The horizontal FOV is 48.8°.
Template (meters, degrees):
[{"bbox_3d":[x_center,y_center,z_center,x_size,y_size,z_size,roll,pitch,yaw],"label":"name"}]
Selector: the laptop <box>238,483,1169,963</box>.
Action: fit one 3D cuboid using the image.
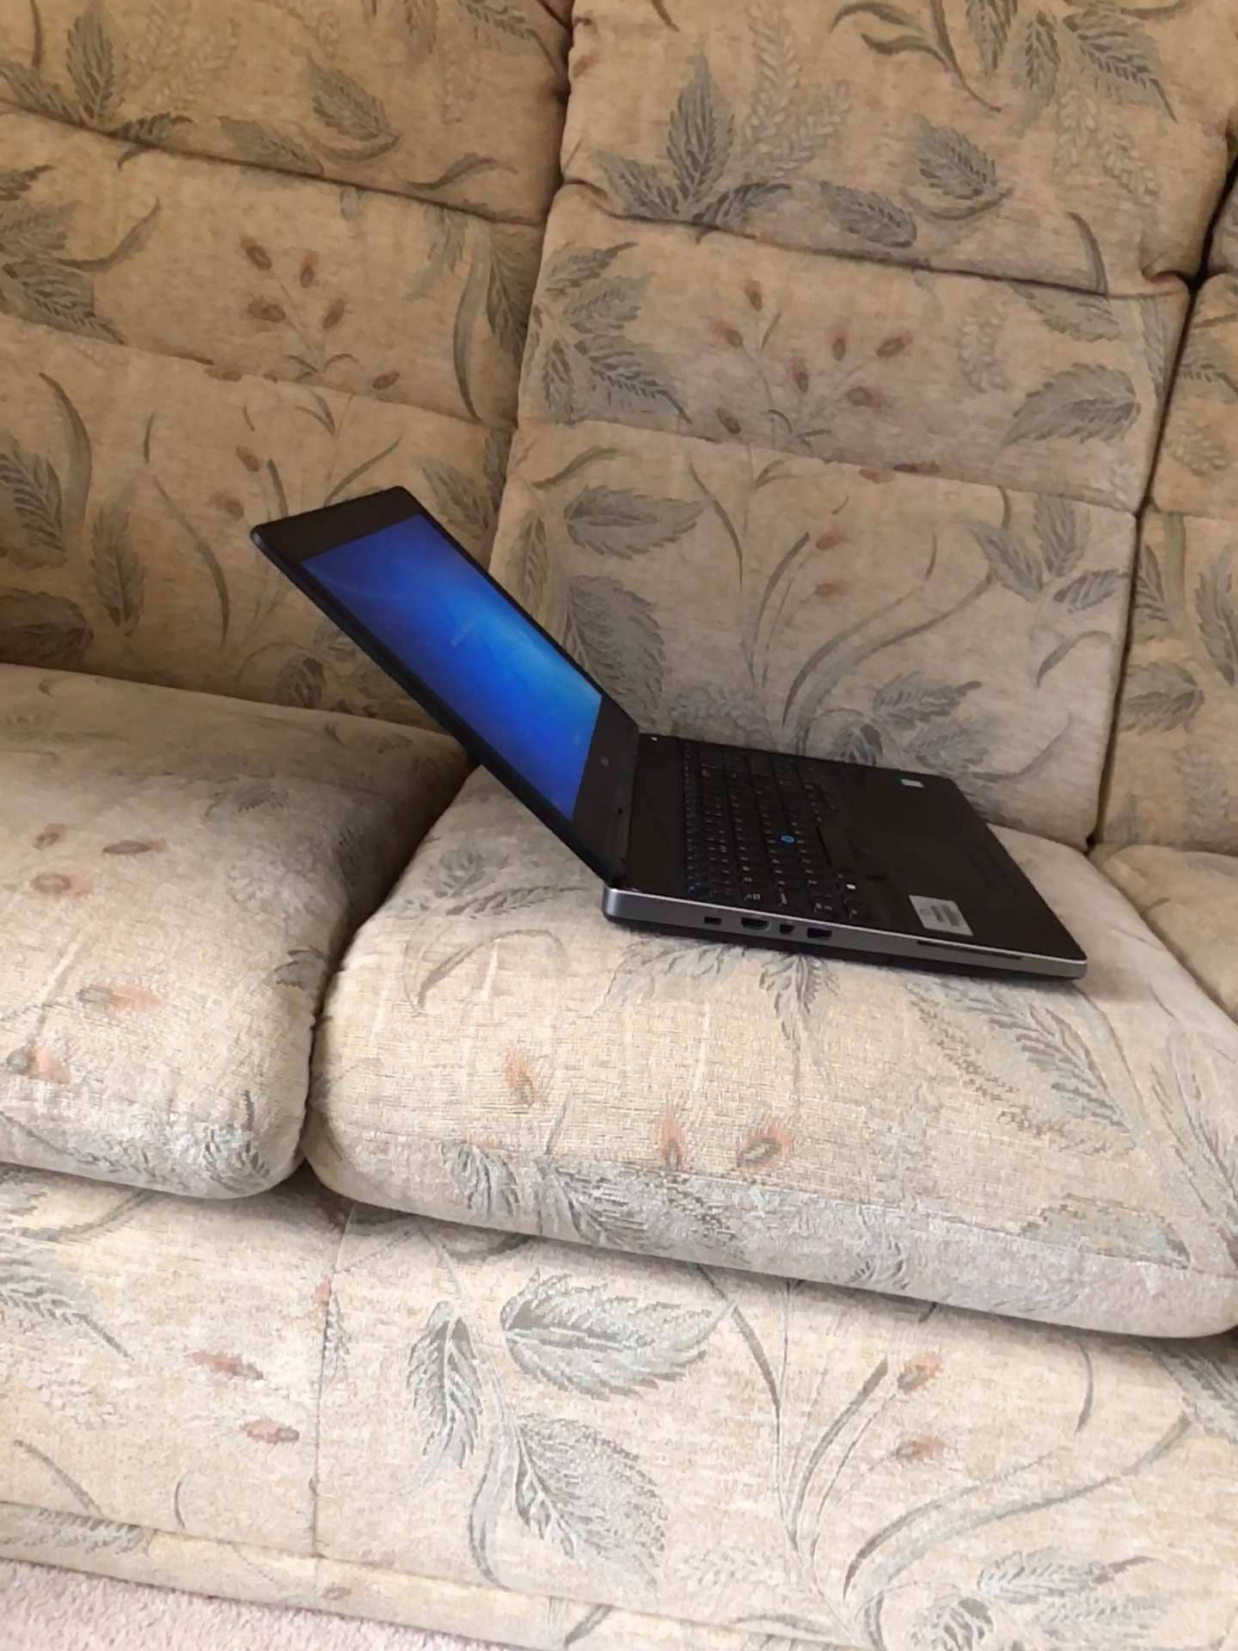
[{"bbox_3d":[0.037,-0.089,0.856,0.451,0.157,0.357,9,19,0],"label":"laptop"}]
